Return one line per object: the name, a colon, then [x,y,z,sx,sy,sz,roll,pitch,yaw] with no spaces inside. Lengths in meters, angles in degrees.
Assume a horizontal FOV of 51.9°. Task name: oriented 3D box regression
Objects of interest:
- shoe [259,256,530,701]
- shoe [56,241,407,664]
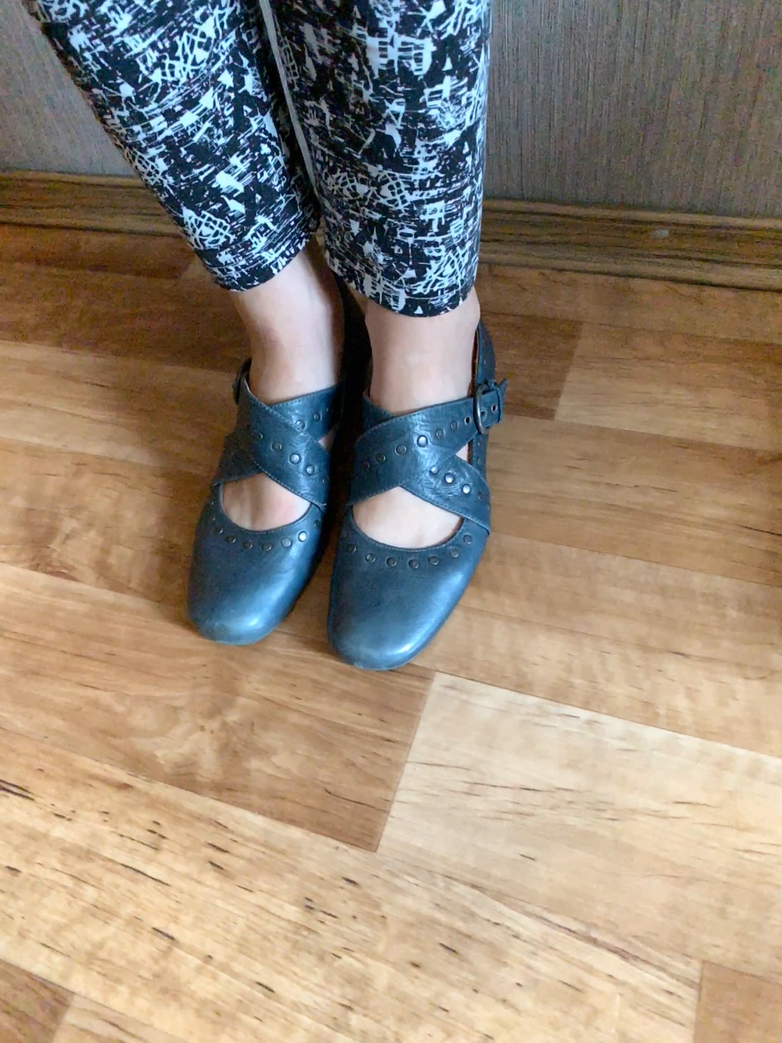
shoe: [0.018,-0.038,0.473,0.090,0.100,0.251,7,53,14]
shoe: [-0.076,-0.053,0.484,0.090,0.100,0.241,11,54,17]
